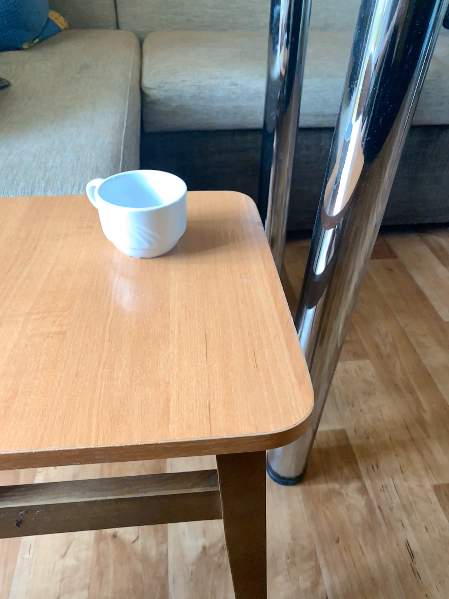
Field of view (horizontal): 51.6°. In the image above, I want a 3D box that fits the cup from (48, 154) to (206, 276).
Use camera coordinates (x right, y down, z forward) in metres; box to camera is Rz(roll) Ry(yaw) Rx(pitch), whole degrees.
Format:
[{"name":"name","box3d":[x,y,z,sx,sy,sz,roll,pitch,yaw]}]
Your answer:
[{"name":"cup","box3d":[-0.080,-0.076,0.395,0.100,0.050,0.080,23,43,26]}]
